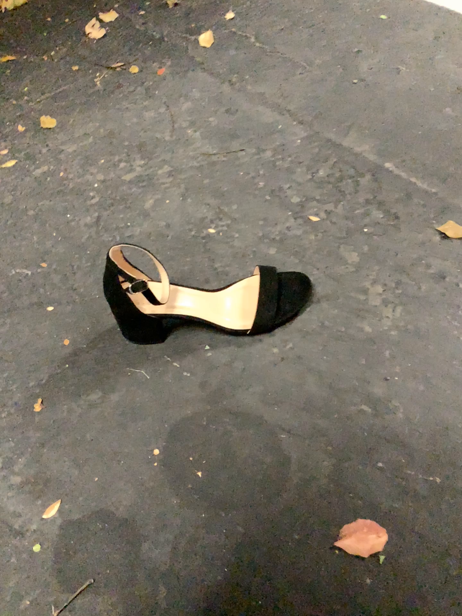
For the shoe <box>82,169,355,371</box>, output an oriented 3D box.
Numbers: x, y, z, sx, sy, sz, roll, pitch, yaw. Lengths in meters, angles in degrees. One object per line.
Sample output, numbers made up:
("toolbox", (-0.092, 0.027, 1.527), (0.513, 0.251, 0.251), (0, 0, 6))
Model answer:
("shoe", (-0.013, -0.041, 0.590), (0.270, 0.140, 0.120), (-11, 52, 0))
